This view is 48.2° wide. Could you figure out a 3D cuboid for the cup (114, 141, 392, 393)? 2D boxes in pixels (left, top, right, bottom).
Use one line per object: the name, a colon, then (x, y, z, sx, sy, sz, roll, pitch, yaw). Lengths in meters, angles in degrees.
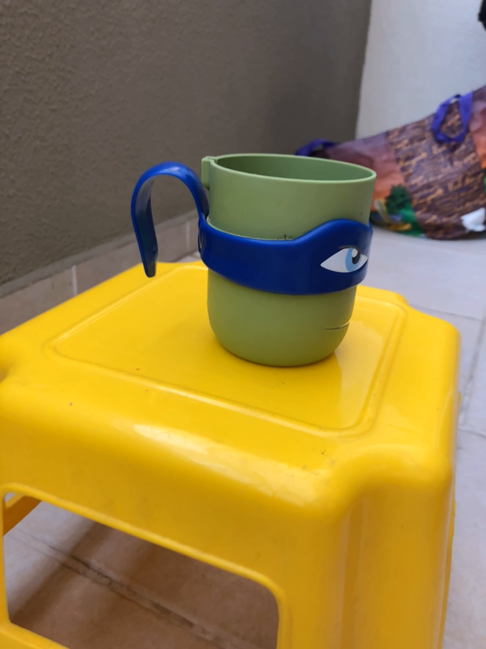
cup: (0.007, -0.034, 0.266, 0.110, 0.089, 0.081, 8, 25, 8)
